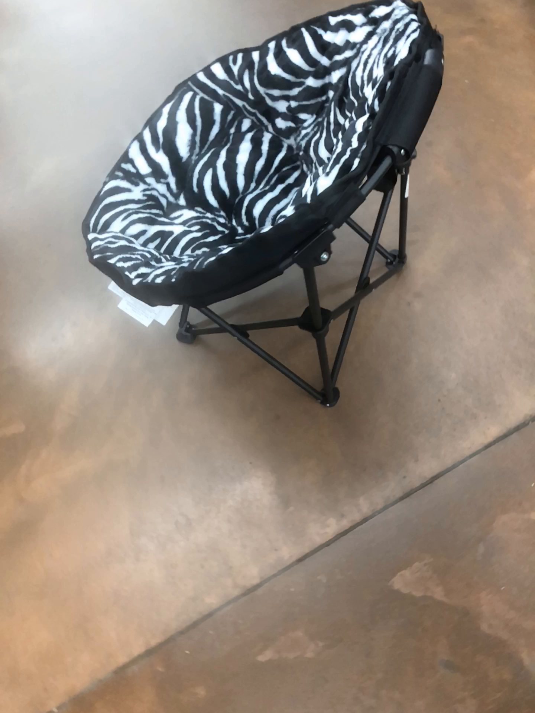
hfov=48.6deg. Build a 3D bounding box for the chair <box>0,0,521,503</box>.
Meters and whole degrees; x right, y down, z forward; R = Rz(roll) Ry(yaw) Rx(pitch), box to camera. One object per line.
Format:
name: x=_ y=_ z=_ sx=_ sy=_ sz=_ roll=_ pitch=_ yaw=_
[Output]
chair: x=-0.029 y=-0.220 z=1.015 sx=0.601 sy=0.599 sz=0.610 roll=20 pitch=69 yaw=19
